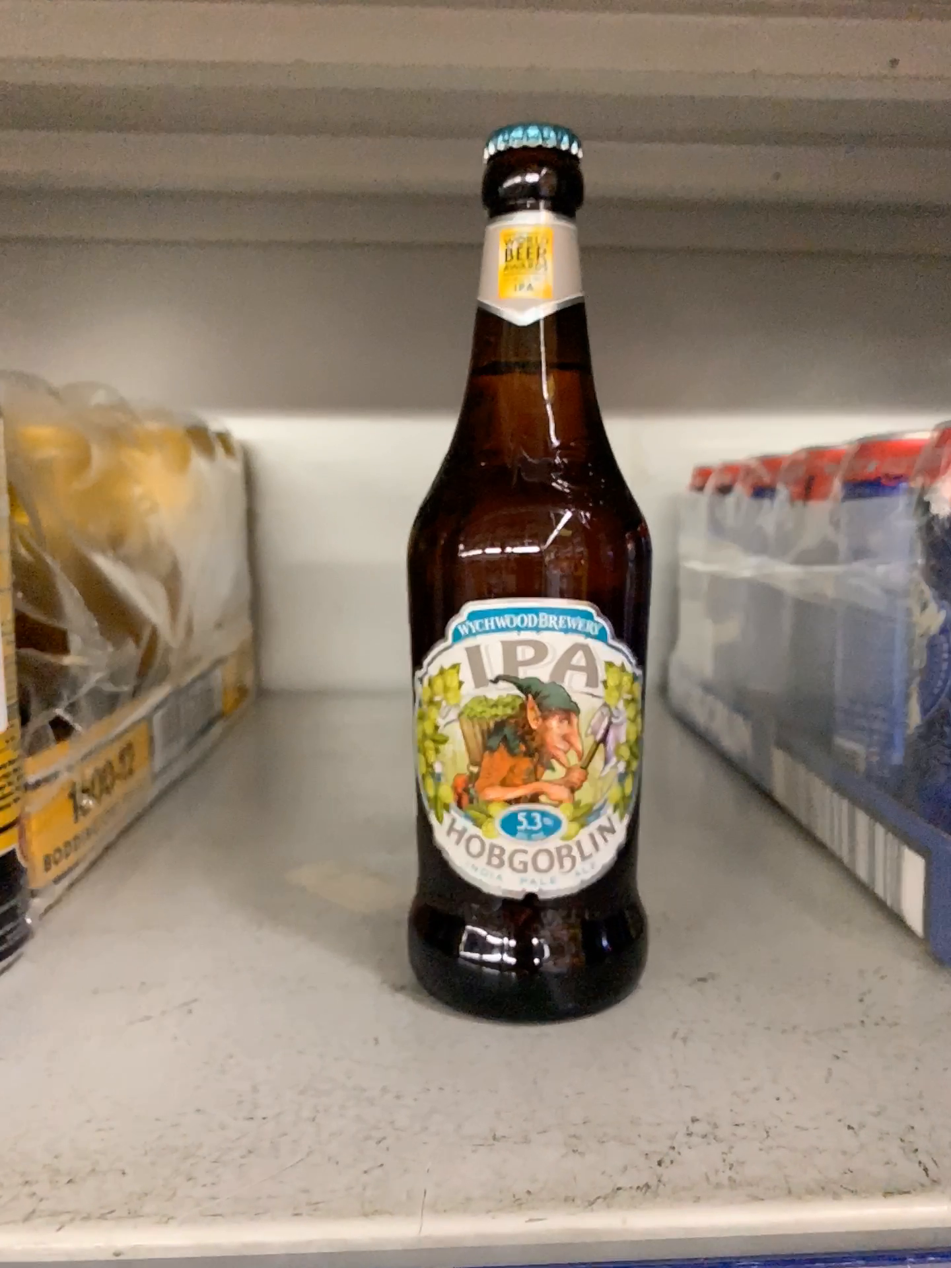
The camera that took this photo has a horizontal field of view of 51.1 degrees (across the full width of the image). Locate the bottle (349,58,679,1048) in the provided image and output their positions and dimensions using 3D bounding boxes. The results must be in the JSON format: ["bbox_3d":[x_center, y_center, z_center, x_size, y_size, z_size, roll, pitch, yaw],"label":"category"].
[{"bbox_3d":[0.013,-0.019,0.295,0.080,0.250,0.080,0,6,0],"label":"bottle"}]
